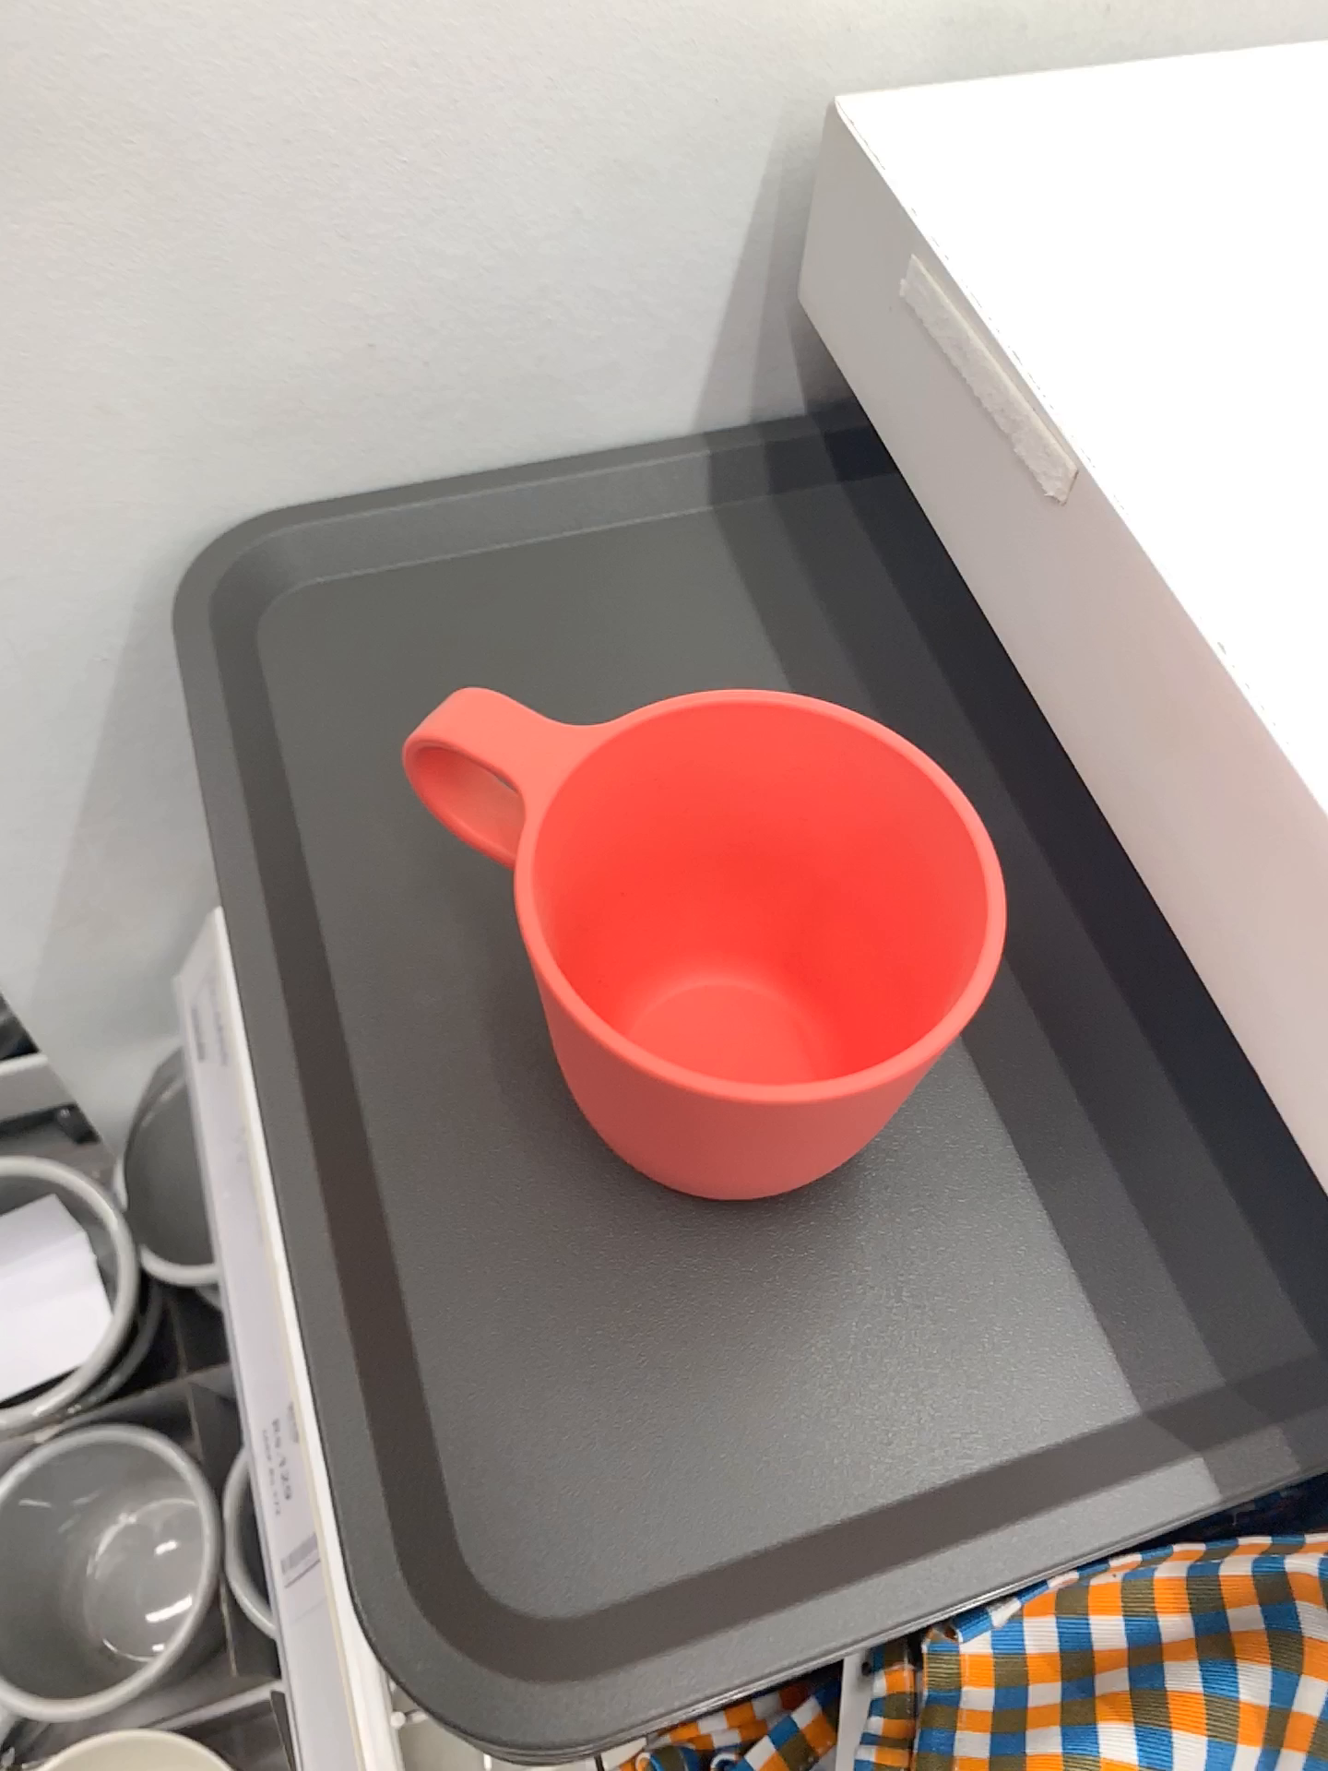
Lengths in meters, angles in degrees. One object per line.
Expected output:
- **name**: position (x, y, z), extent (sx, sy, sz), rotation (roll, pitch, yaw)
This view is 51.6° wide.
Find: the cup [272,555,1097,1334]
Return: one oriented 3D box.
- **cup**: position (0.002, 0.012, 0.249), extent (0.110, 0.080, 0.070), rotation (26, 59, 12)
